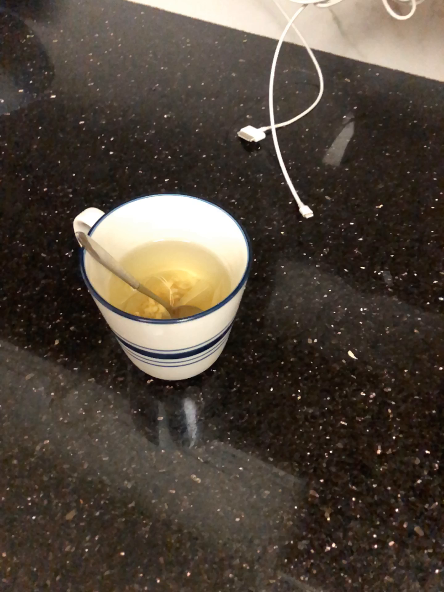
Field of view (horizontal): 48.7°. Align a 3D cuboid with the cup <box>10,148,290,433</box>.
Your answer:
[{"bbox_3d":[-0.039,-0.004,0.285,0.120,0.090,0.080,36,62,21],"label":"cup"}]
